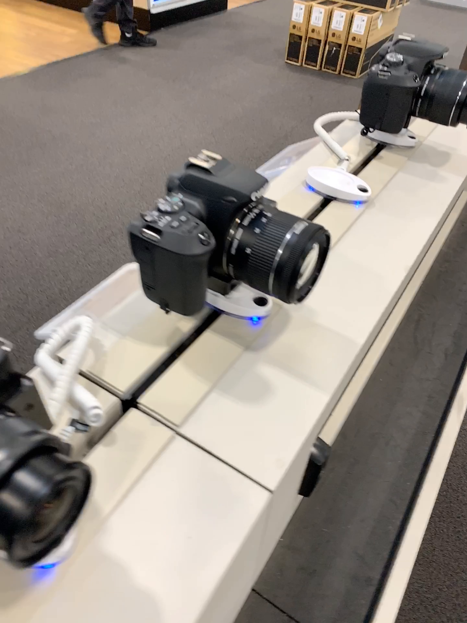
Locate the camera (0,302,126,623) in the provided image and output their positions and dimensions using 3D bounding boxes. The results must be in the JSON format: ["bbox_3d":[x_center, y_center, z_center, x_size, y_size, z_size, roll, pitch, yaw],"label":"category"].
[{"bbox_3d":[-0.139,0.080,0.245,0.111,0.088,0.112,23,47,18],"label":"camera"}]

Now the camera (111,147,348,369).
[{"bbox_3d":[-0.001,-0.050,0.386,0.135,0.089,0.122,23,47,18],"label":"camera"}]

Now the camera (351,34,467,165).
[{"bbox_3d":[0.267,-0.295,0.655,0.146,0.101,0.134,27,48,22],"label":"camera"}]
